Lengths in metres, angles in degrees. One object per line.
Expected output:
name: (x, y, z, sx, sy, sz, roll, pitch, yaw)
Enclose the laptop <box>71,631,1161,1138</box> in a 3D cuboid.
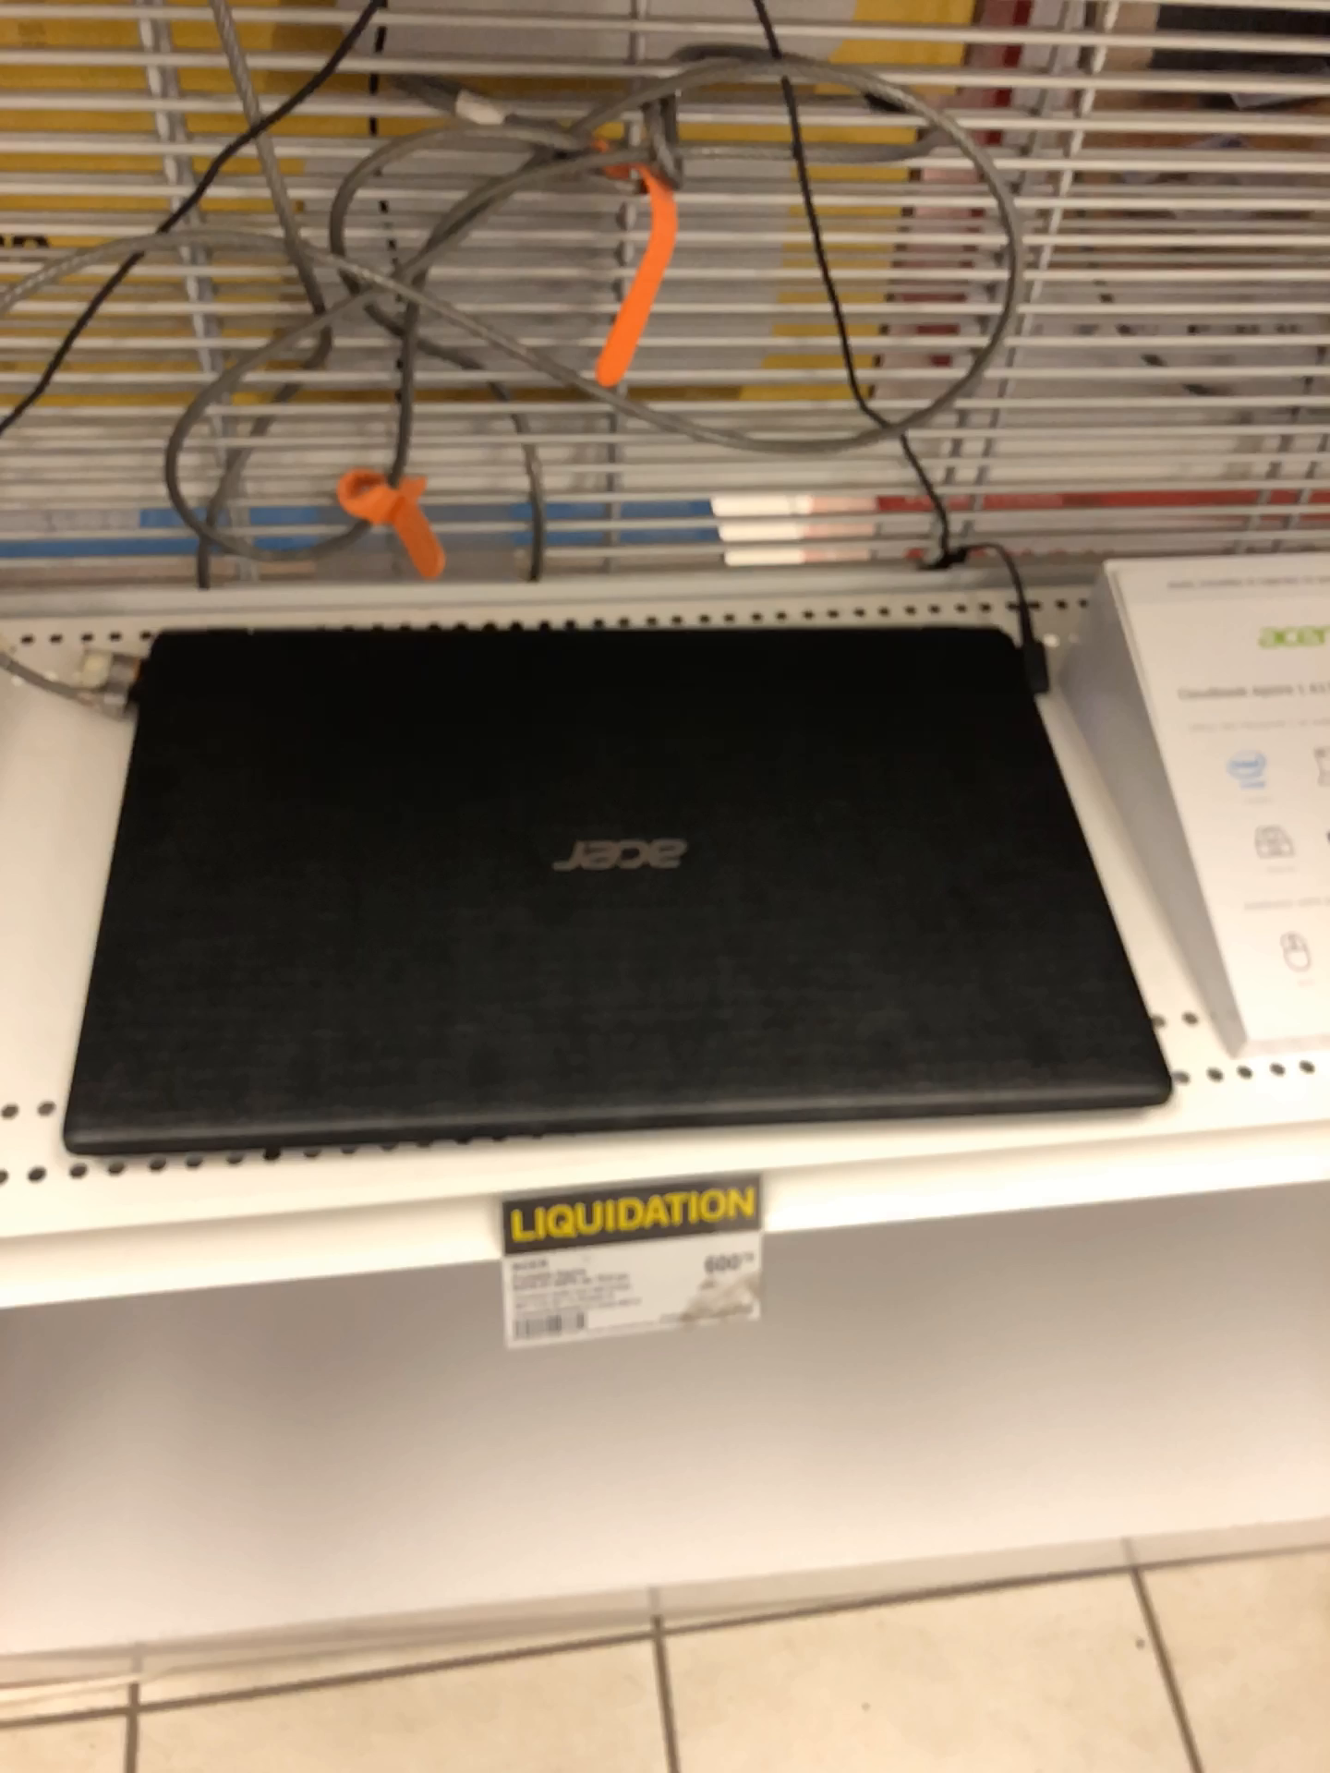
laptop: (-0.018, -0.019, 0.587, 0.374, 0.003, 0.248, -1, 49, -7)
